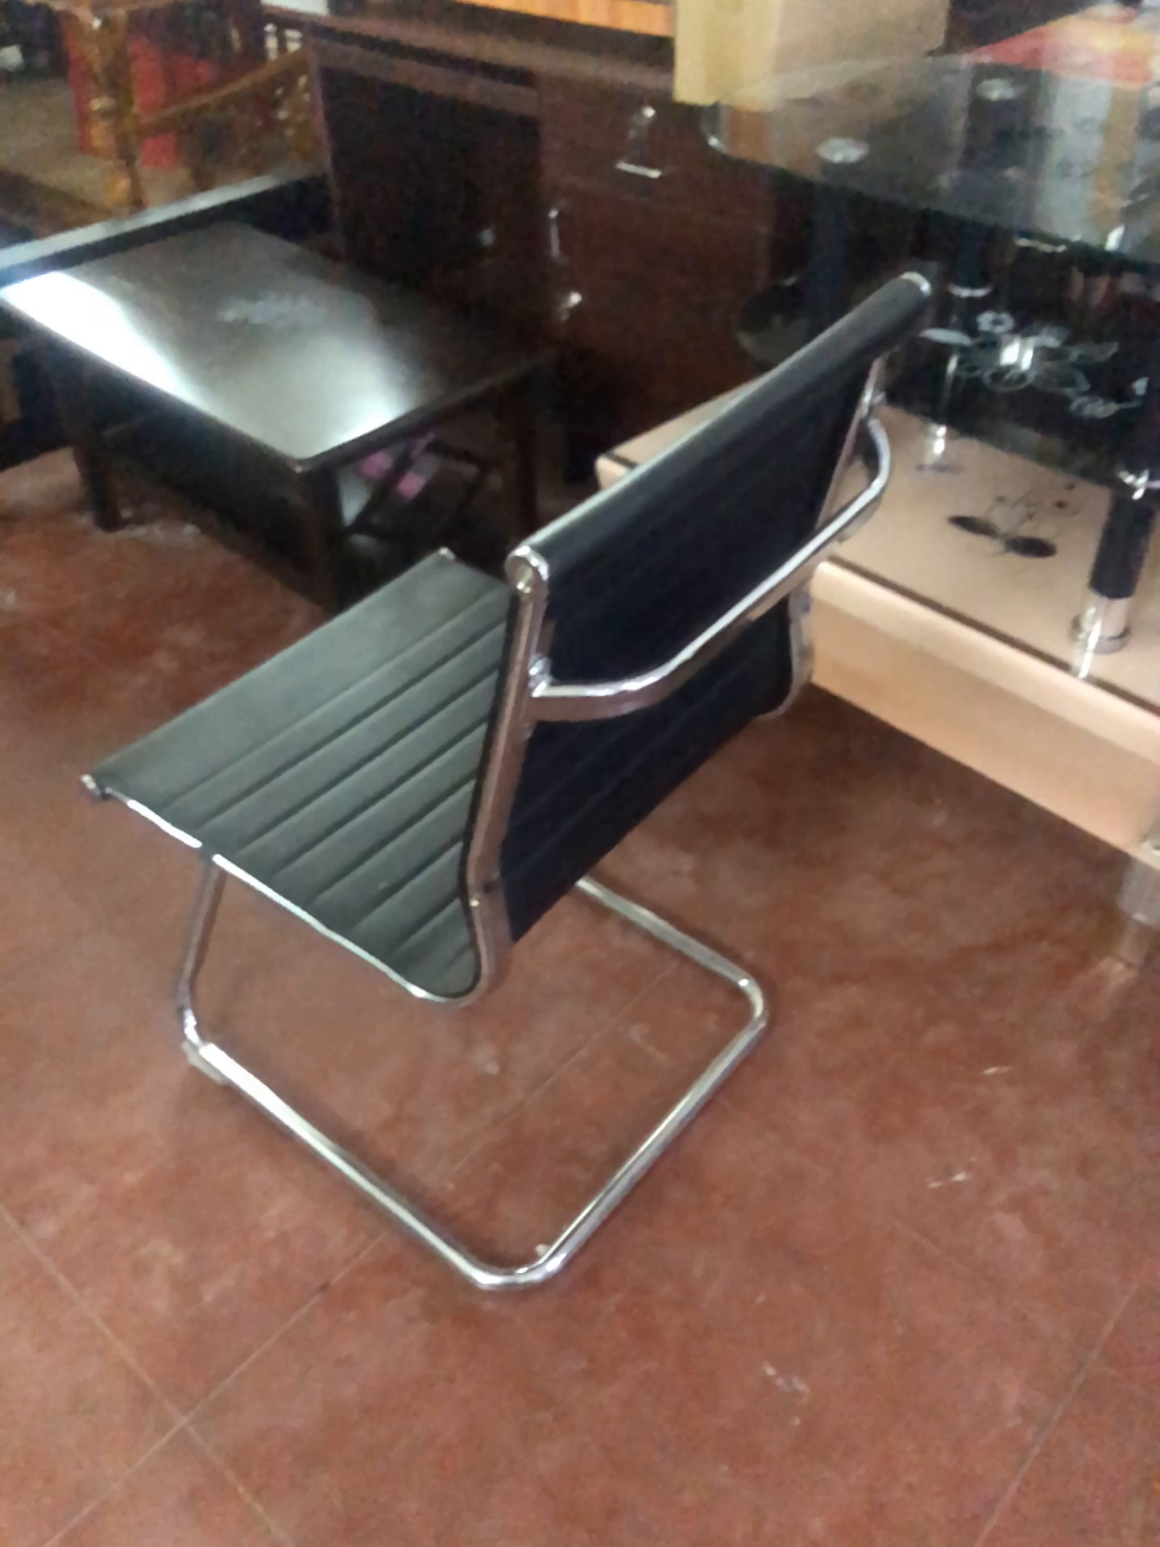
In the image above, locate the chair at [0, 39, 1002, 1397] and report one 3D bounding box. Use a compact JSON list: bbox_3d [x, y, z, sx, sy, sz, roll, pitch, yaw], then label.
[{"bbox_3d":[-0.150,-0.081,1.156,0.680,0.856,0.593,27,49,29],"label":"chair"}]
